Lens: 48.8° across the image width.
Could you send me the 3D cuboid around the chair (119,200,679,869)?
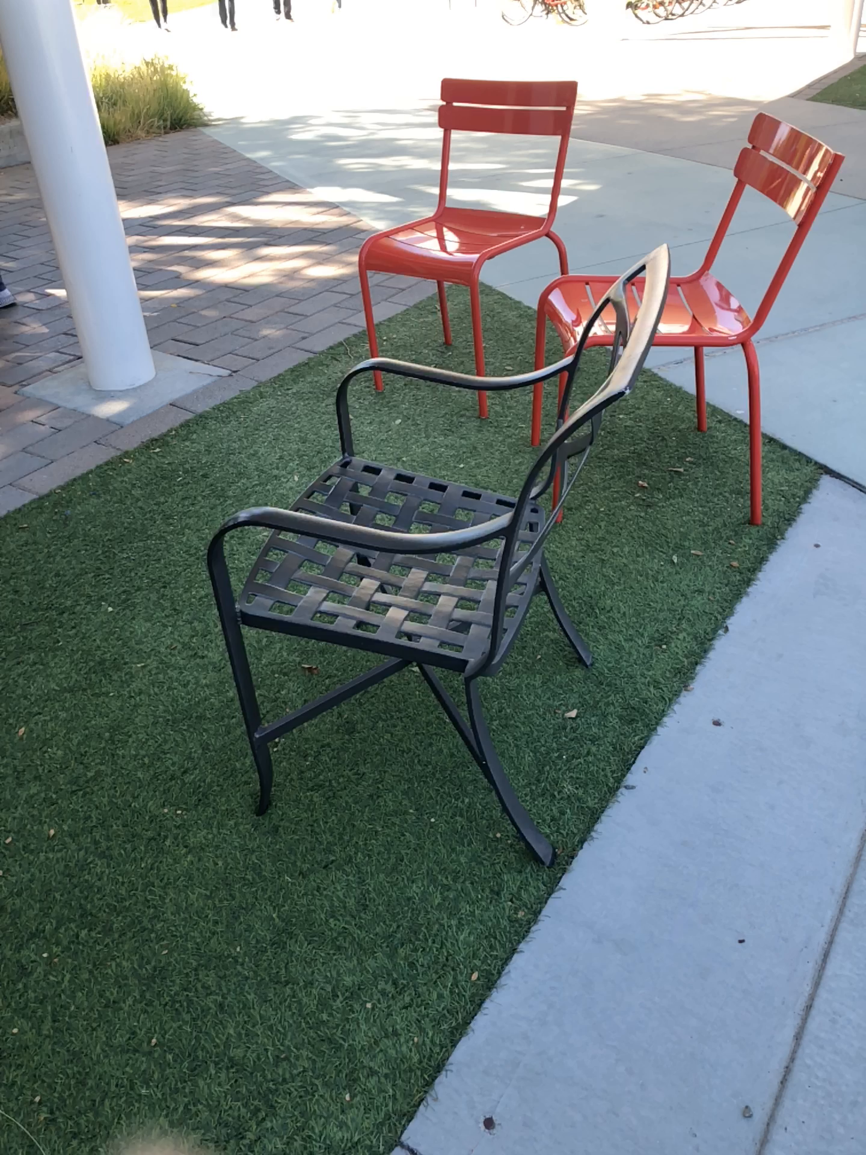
[{"bbox_3d":[0.006,-0.106,1.571,0.640,0.806,0.643,8,35,11],"label":"chair"}]
